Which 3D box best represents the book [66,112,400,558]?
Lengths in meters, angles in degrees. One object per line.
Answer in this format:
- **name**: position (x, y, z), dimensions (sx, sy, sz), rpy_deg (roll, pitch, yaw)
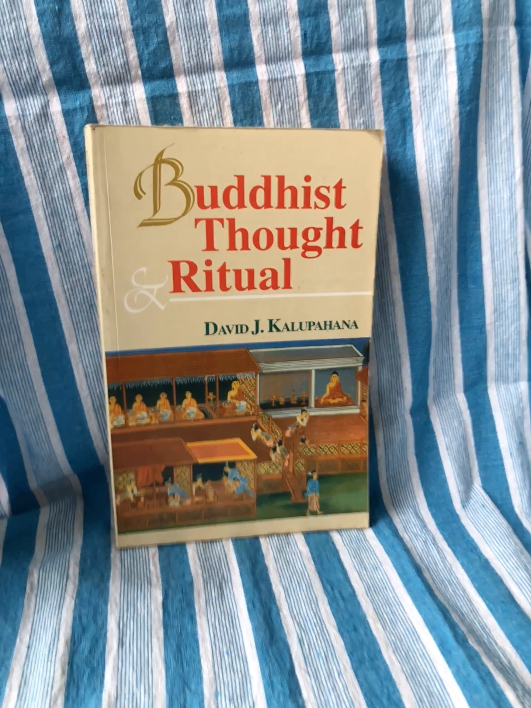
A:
- **book**: position (-0.013, -0.004, 0.304), dimensions (0.150, 0.219, 0.020), rpy_deg (-2, 16, -10)
